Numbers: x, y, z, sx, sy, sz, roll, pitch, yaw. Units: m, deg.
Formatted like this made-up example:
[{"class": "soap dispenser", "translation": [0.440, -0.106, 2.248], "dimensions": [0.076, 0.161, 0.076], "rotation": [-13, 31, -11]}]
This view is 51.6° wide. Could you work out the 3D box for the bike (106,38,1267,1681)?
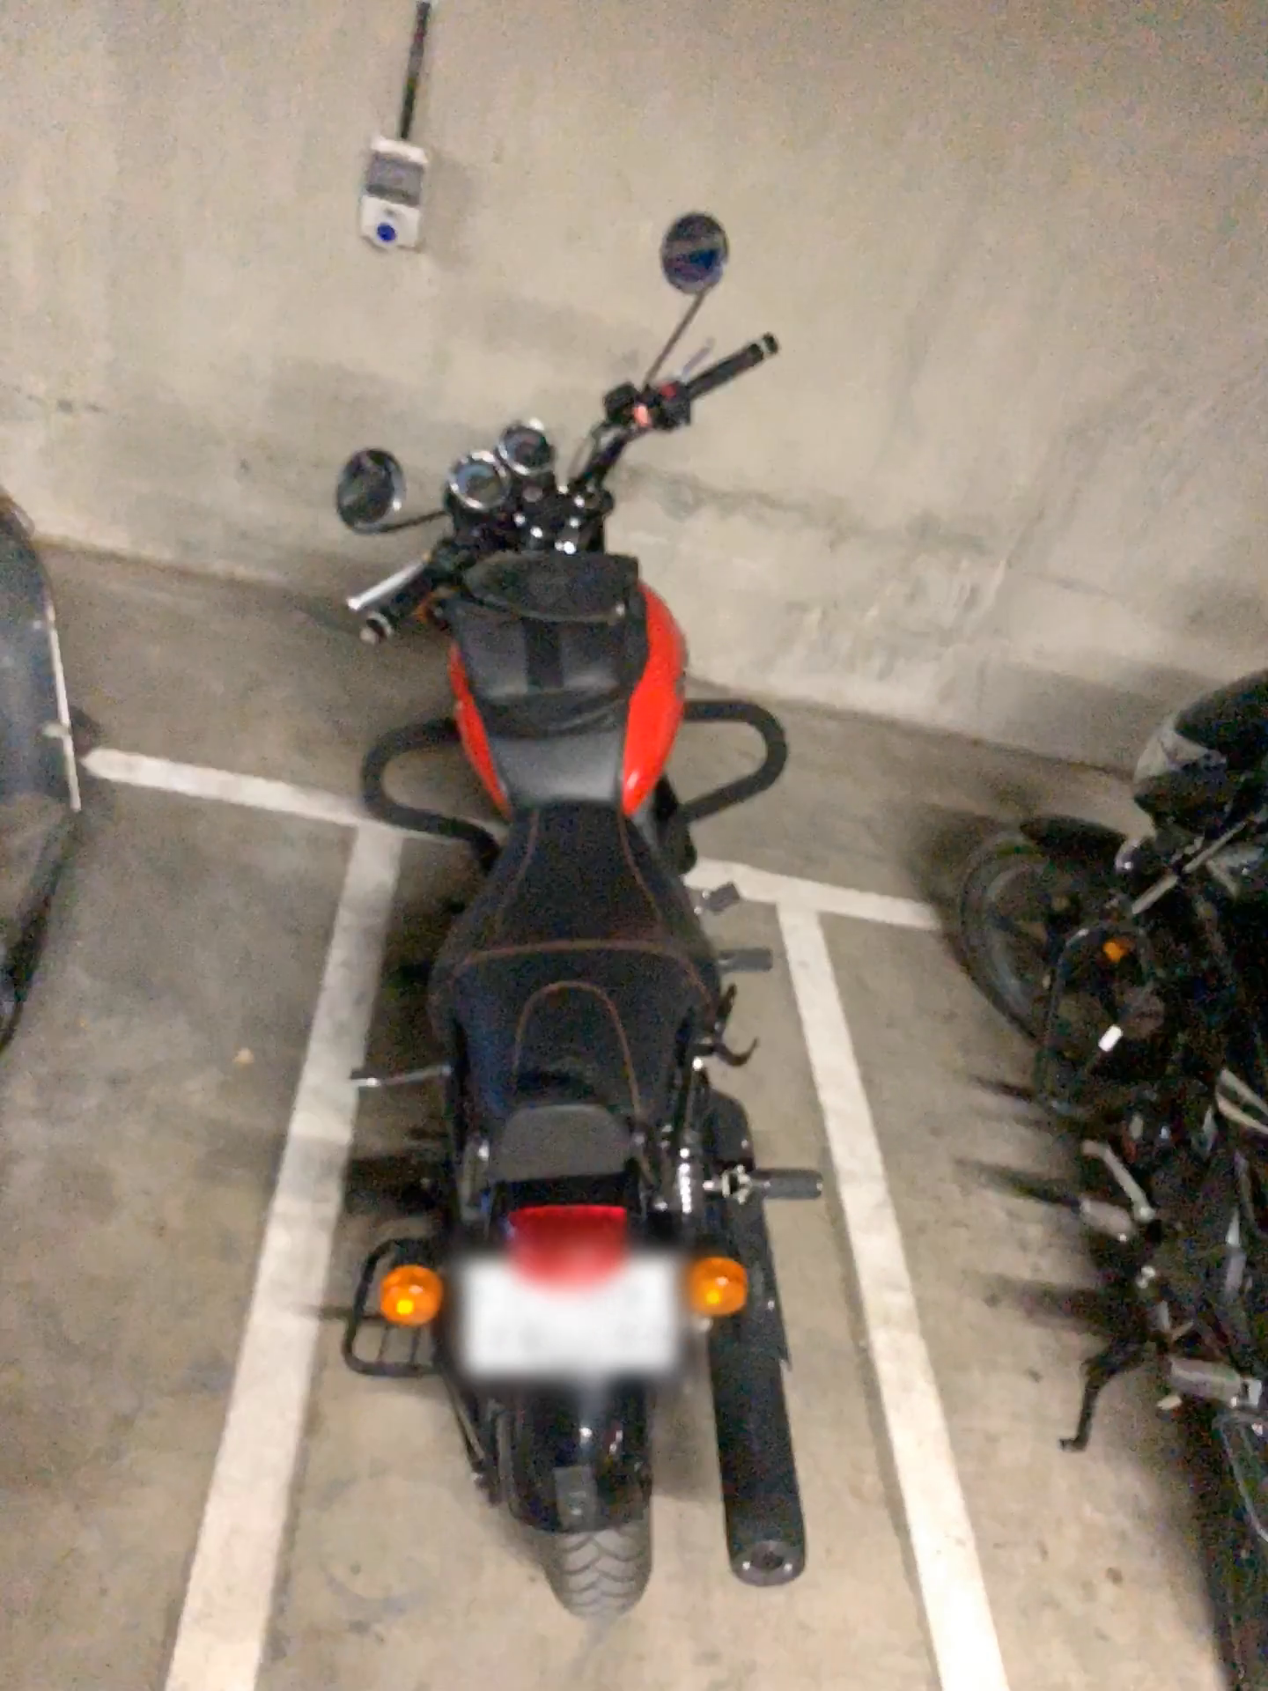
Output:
[{"class": "bike", "translation": [-0.232, -0.125, 1.929], "dimensions": [0.829, 1.302, 1.842], "rotation": [5, 39, -19]}]
